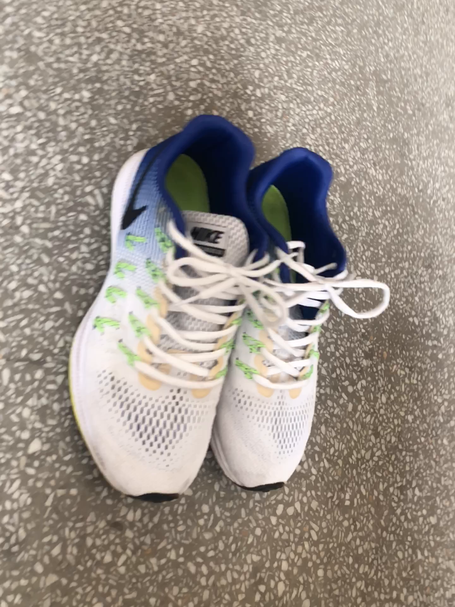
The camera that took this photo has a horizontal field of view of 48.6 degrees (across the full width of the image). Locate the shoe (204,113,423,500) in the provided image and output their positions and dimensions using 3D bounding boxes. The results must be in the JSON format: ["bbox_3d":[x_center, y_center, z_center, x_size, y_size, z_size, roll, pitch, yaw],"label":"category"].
[{"bbox_3d":[0.059,0.010,0.417,0.112,0.114,0.275,10,69,-32],"label":"shoe"}]

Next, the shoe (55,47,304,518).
[{"bbox_3d":[-0.034,-0.008,0.357,0.113,0.114,0.282,12,68,-32],"label":"shoe"}]
